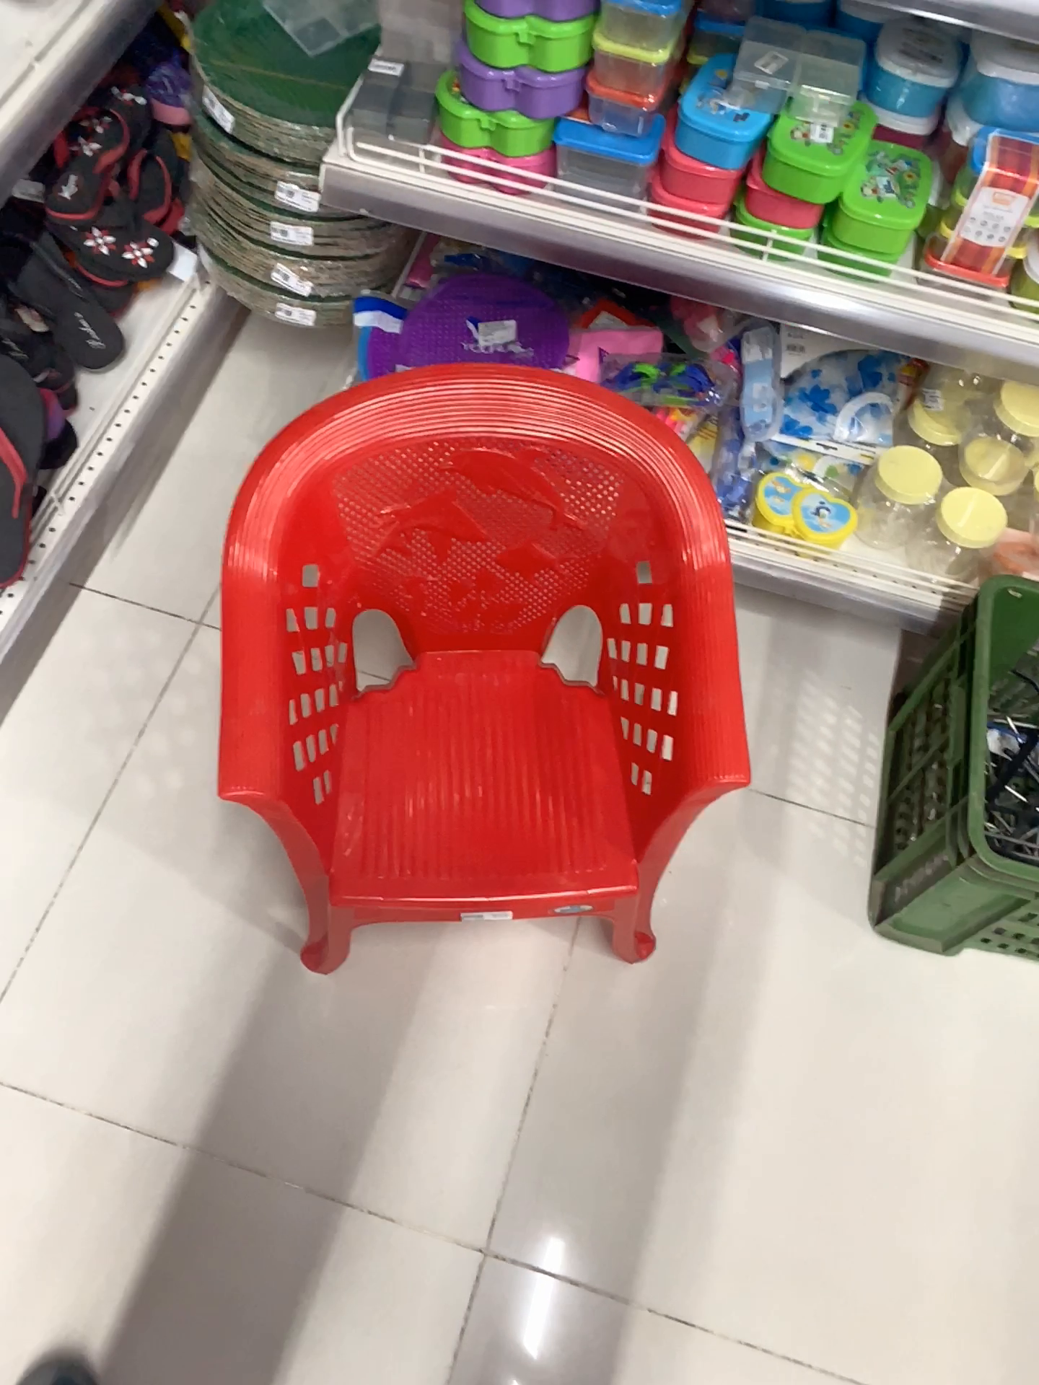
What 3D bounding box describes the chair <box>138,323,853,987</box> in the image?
[{"bbox_3d":[-0.027,-0.003,1.065,0.500,0.479,0.491,0,63,-3],"label":"chair"}]
